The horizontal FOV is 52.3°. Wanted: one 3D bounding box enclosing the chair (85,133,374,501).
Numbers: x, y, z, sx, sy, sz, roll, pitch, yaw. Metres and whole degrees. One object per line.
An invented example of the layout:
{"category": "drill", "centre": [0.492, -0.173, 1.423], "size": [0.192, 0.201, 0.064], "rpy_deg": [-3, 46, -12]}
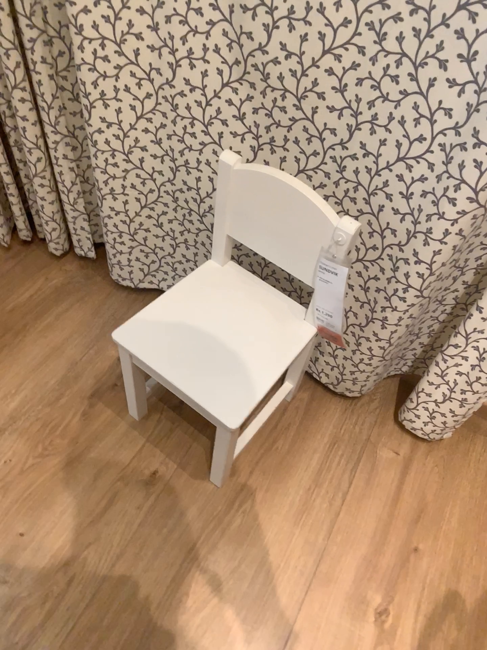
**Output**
{"category": "chair", "centre": [-0.038, 0.025, 0.894], "size": [0.270, 0.568, 0.291], "rpy_deg": [33, 56, 17]}
